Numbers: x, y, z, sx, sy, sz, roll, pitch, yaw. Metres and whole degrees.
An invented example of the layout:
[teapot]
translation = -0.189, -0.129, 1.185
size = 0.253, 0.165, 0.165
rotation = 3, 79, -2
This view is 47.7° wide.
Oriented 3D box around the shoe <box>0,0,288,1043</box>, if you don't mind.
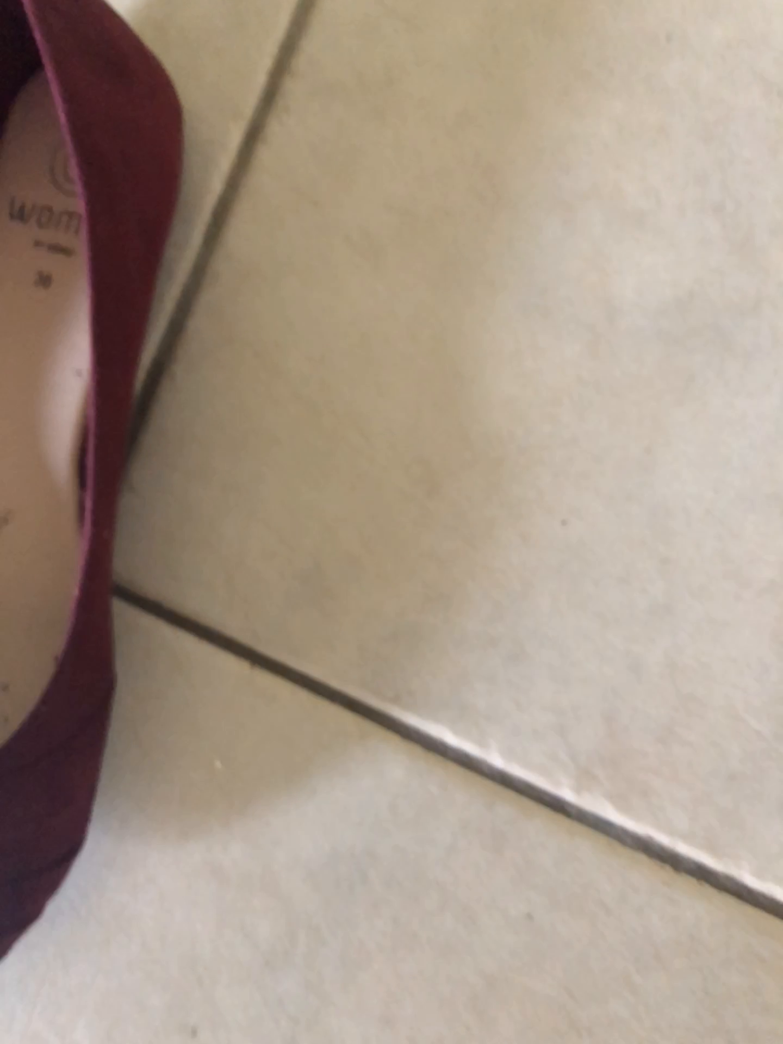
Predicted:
[shoe]
translation = -0.104, -0.014, 0.215
size = 0.082, 0.080, 0.251
rotation = 11, 88, 18
